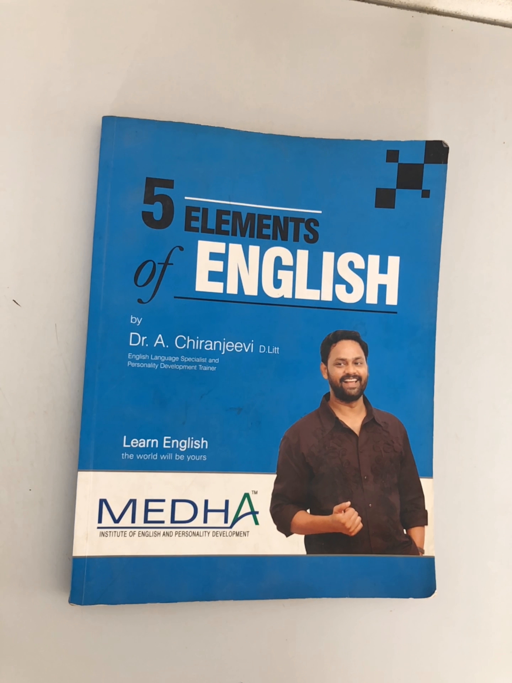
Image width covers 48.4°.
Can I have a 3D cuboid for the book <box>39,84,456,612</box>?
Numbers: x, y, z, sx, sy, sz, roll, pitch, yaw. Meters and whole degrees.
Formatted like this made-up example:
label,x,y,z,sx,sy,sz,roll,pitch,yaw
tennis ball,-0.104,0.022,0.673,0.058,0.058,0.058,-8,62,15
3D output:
label,x,y,z,sx,sy,sz,roll,pitch,yaw
book,0.003,0.002,0.262,0.180,0.020,0.220,2,85,-10
